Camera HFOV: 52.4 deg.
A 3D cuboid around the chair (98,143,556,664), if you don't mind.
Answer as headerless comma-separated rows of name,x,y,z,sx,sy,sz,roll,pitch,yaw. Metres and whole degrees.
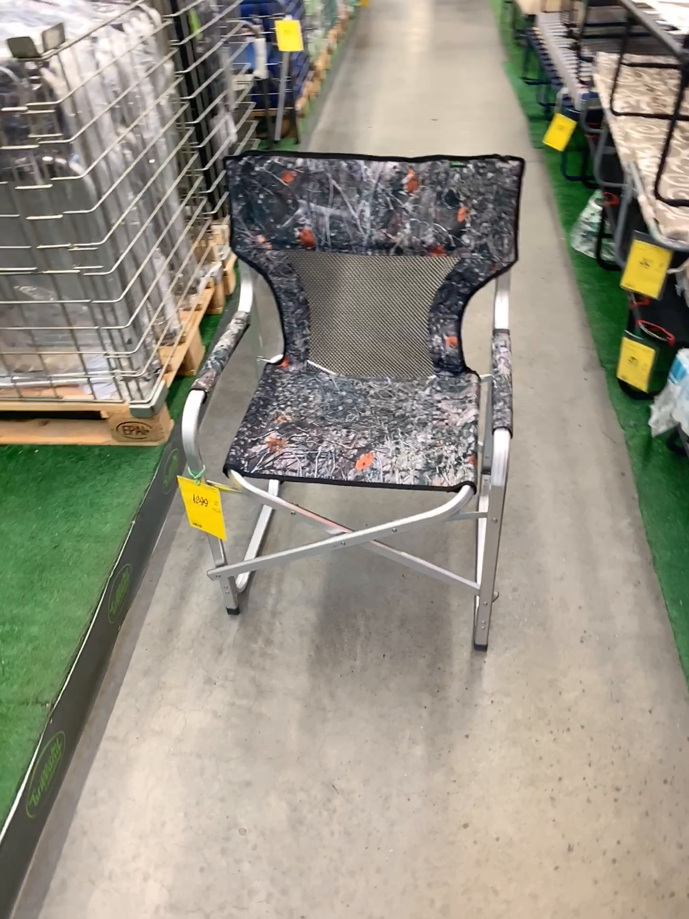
chair,0.042,-0.123,1.463,0.650,0.836,0.613,5,42,11
